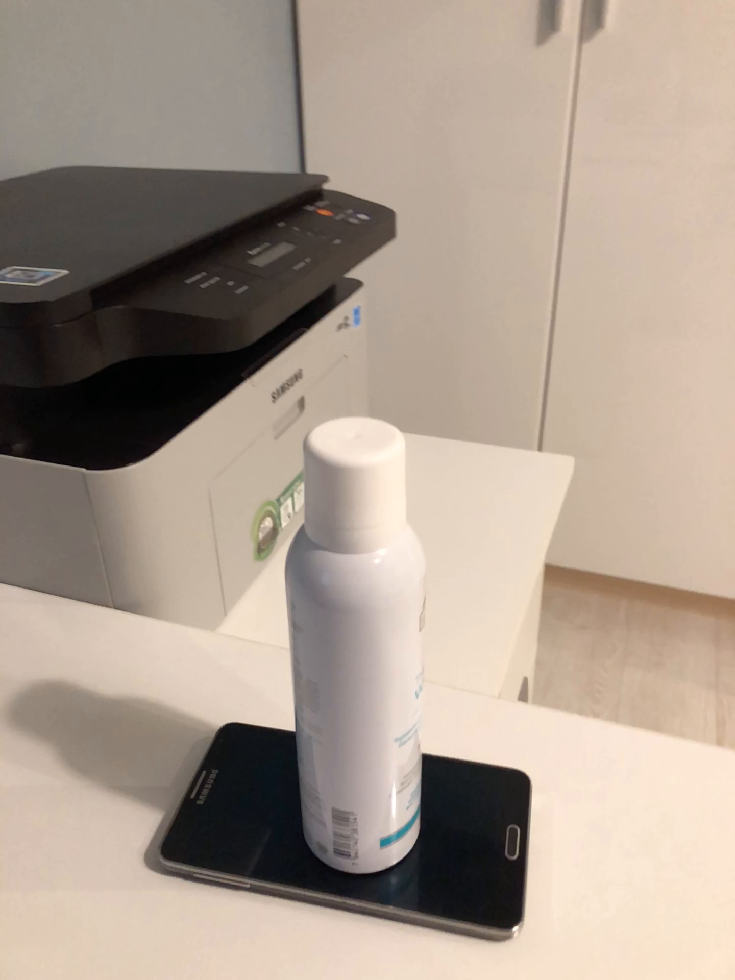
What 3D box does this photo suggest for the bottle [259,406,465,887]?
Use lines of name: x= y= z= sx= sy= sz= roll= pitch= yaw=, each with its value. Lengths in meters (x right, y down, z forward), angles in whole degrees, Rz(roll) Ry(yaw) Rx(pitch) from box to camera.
bottle: x=-0.003 y=0.062 z=0.296 sx=0.059 sy=0.175 sz=0.054 roll=-1 pitch=29 yaw=0
